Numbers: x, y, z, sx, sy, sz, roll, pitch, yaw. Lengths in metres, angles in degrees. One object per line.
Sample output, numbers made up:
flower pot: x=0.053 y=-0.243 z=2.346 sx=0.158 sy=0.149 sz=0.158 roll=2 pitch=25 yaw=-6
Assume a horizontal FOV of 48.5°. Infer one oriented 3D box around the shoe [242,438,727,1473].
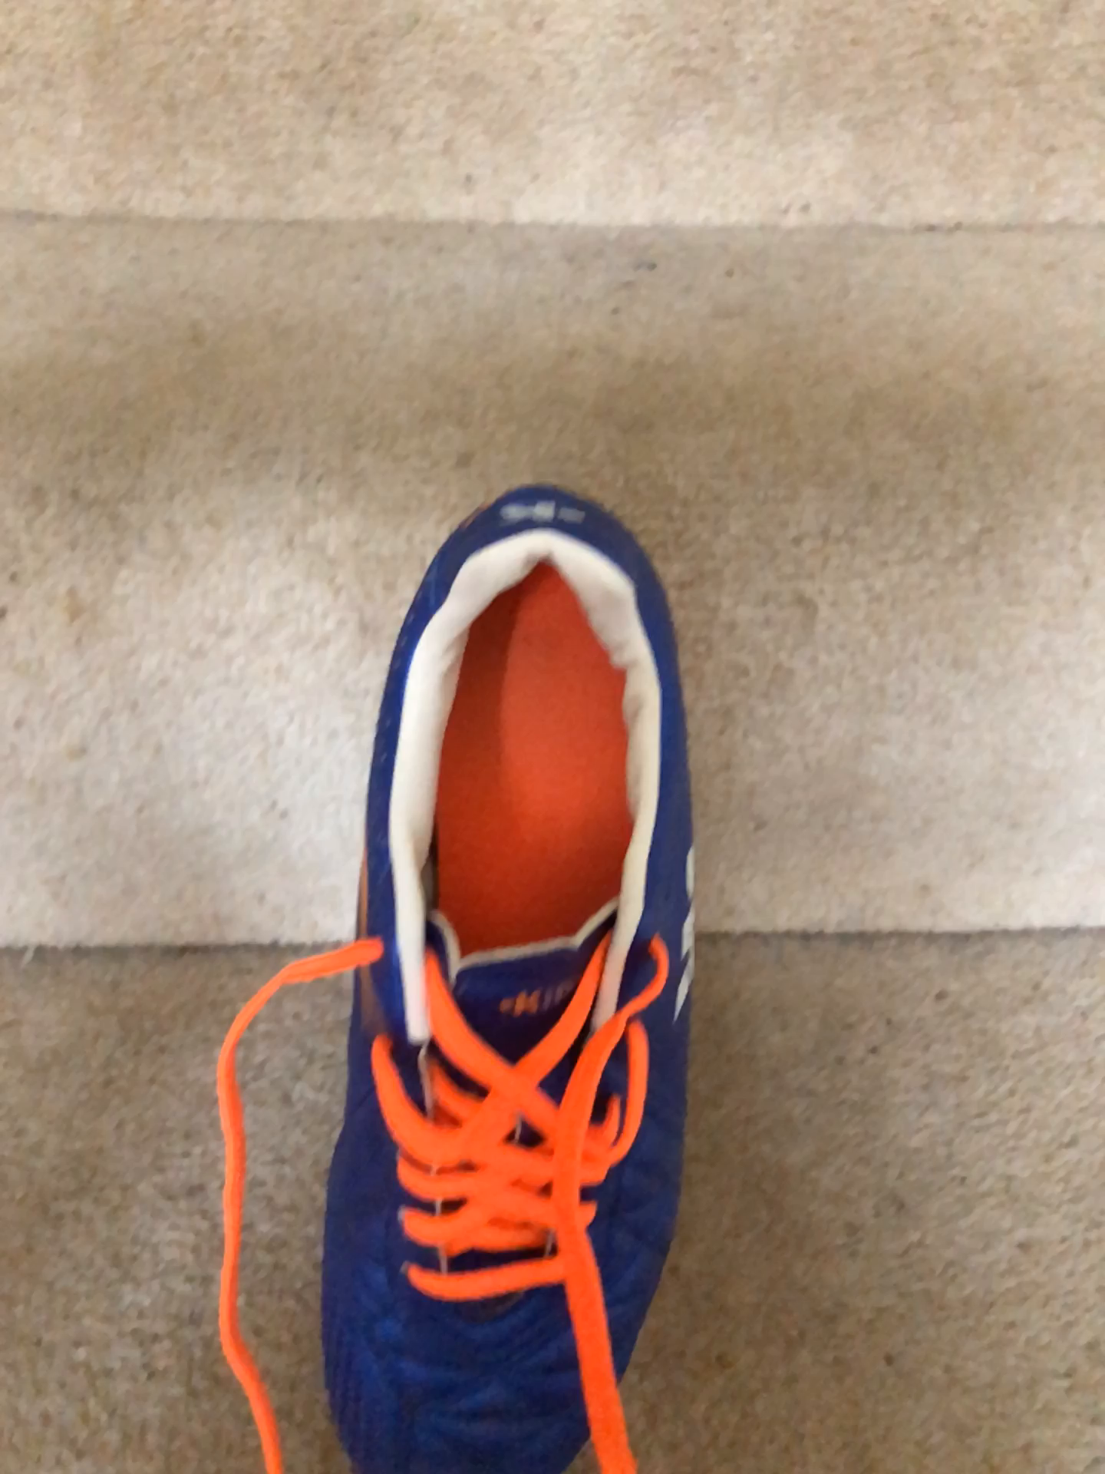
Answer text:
shoe: x=-0.014 y=0.054 z=0.268 sx=0.070 sy=0.210 sz=0.100 roll=4 pitch=-1 yaw=-3
